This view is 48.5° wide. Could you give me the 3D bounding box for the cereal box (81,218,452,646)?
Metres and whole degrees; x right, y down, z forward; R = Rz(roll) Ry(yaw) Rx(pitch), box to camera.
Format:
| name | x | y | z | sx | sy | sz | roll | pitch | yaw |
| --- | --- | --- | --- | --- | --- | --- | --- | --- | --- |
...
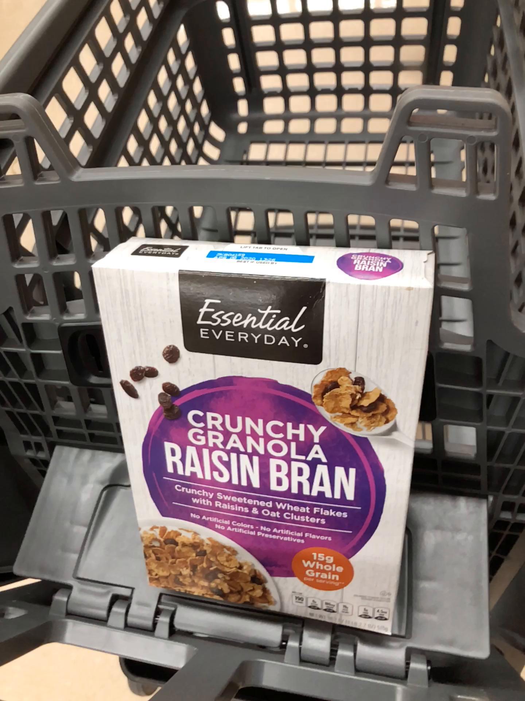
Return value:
| name | x | y | z | sx | sy | sz | roll | pitch | yaw |
| --- | --- | --- | --- | --- | --- | --- | --- | --- | --- |
| cereal box | 0.007 | 0.061 | 0.401 | 0.200 | 0.280 | 0.070 | 5 | 29 | 13 |
